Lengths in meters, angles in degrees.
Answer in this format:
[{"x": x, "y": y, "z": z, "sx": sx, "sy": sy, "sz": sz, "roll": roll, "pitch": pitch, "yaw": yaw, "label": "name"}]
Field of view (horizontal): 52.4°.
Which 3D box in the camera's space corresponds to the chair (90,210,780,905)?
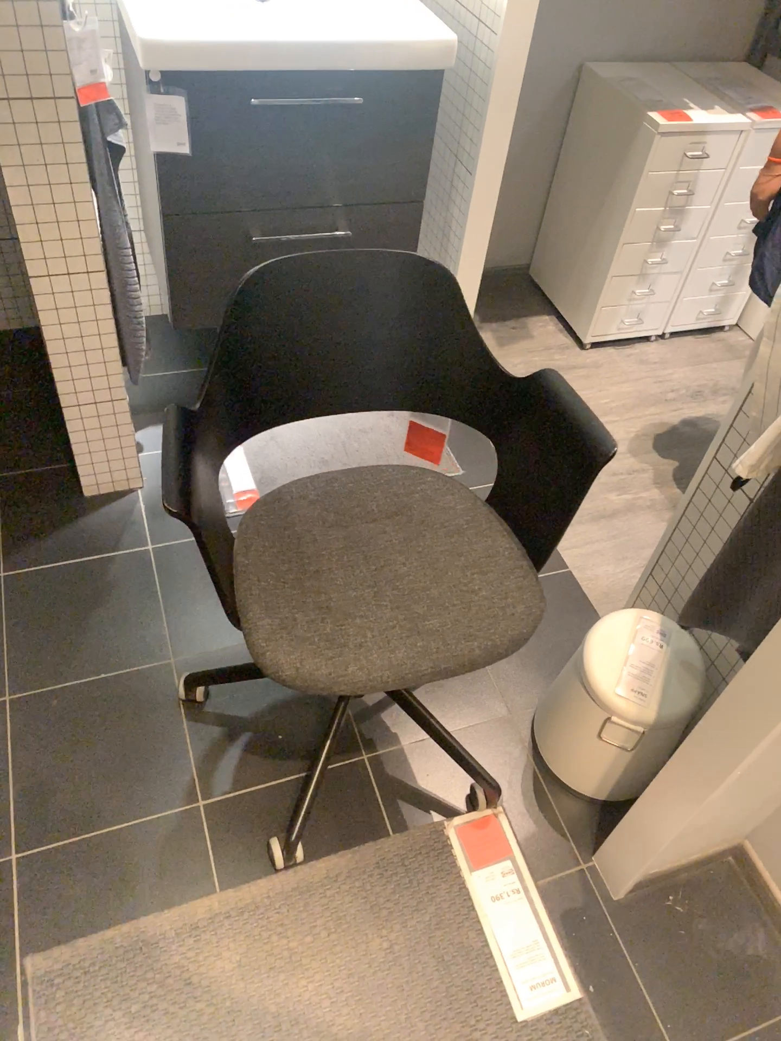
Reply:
[{"x": -0.023, "y": 0.051, "z": 1.189, "sx": 0.640, "sy": 0.737, "sz": 0.602, "roll": -10, "pitch": 50, "yaw": -17, "label": "chair"}]
